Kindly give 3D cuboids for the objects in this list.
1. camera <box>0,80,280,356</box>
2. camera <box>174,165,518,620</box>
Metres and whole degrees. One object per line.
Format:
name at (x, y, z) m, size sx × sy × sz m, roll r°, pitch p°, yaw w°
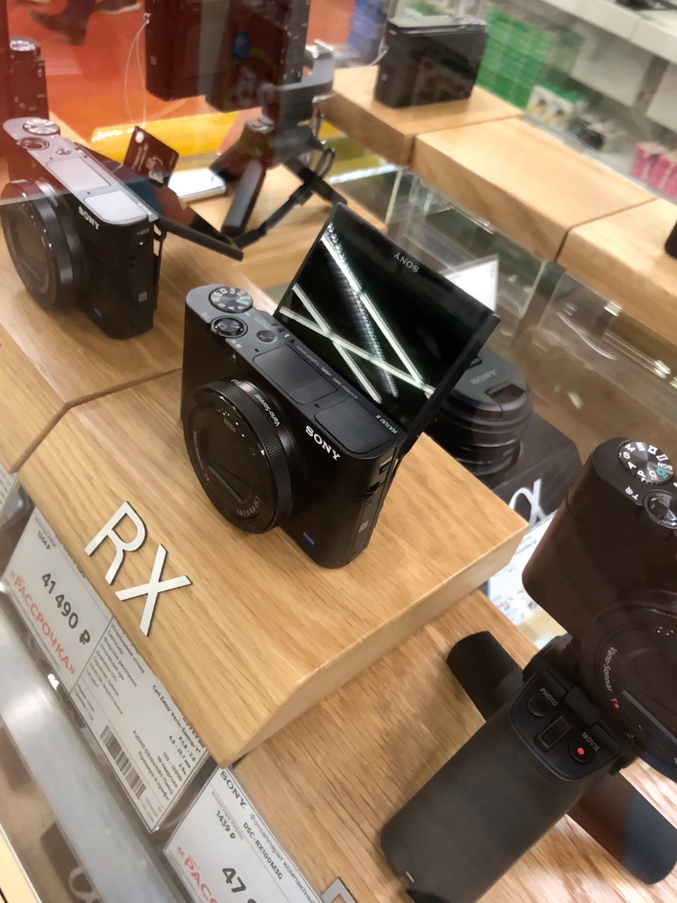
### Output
camera at (-0.100, -0.112, 0.347) m, size 0.097 × 0.067 × 0.101 m, roll -25°, pitch 56°, yaw -34°
camera at (-0.009, -0.020, 0.273) m, size 0.050 × 0.119 × 0.100 m, roll -25°, pitch 56°, yaw -34°
